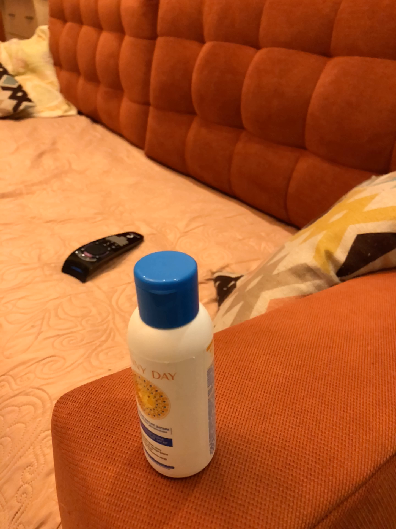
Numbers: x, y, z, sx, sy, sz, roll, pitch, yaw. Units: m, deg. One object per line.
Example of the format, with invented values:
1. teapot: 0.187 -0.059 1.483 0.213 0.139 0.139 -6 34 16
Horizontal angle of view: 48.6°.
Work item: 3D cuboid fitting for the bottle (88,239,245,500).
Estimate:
1. bottle: -0.011 0.052 0.209 0.047 0.111 0.044 0 35 0
